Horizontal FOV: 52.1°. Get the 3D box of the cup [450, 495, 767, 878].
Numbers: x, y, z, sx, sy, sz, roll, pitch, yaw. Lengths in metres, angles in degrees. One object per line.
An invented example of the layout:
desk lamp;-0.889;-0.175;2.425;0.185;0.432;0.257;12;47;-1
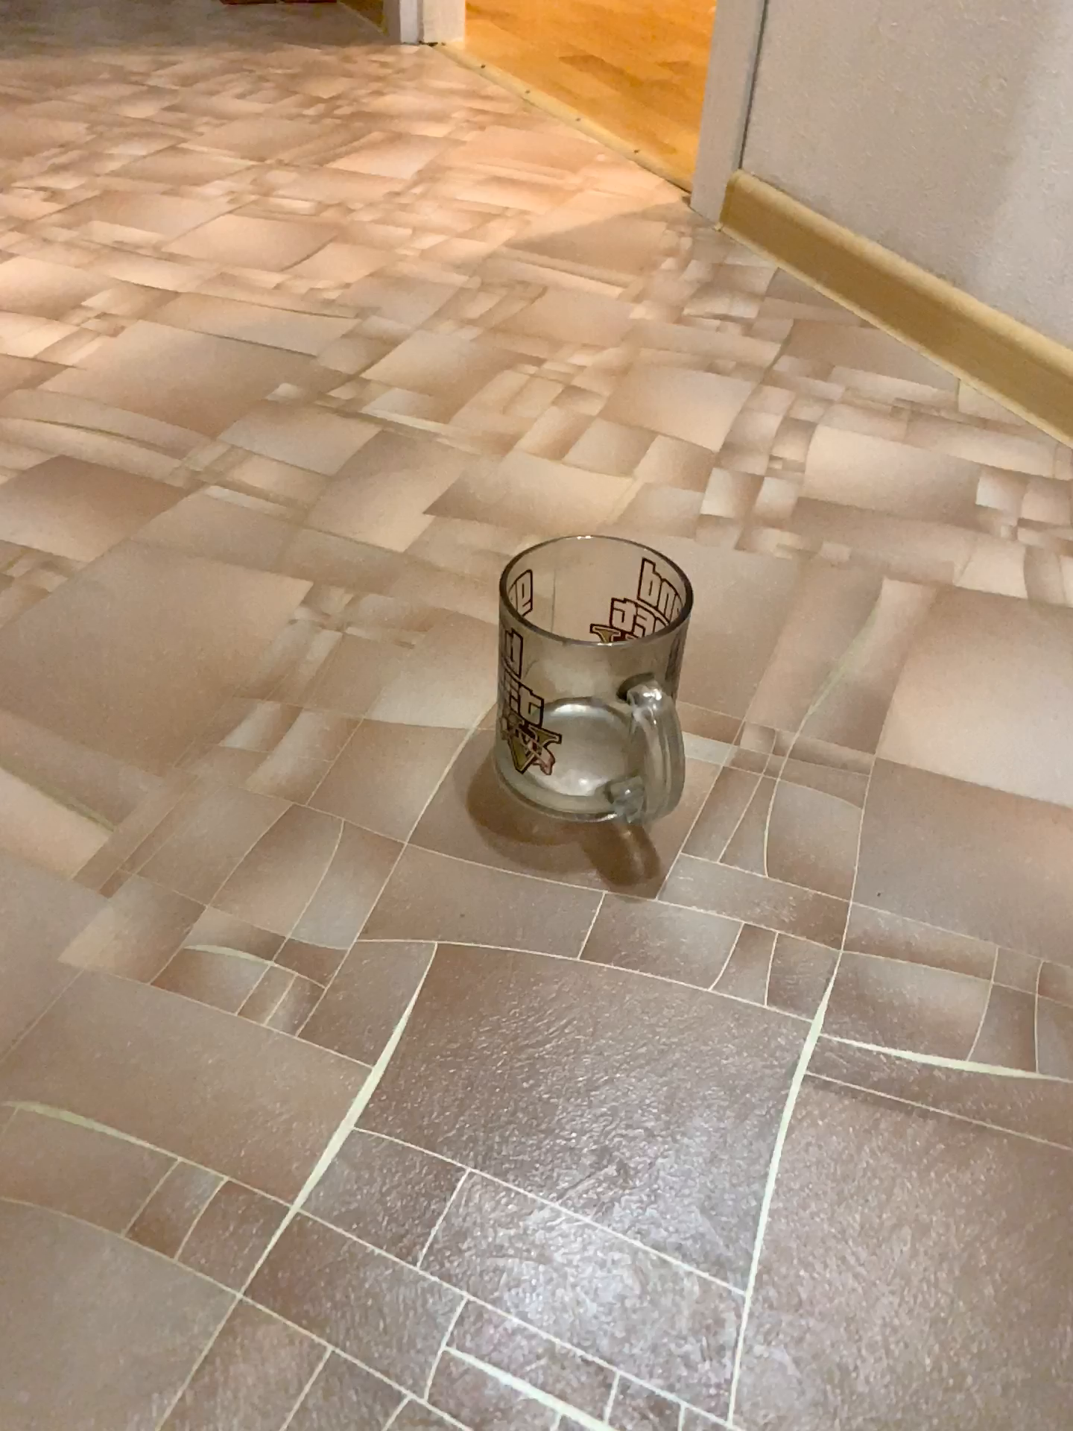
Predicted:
cup;0.021;-0.014;0.436;0.082;0.097;0.098;-14;45;-20
